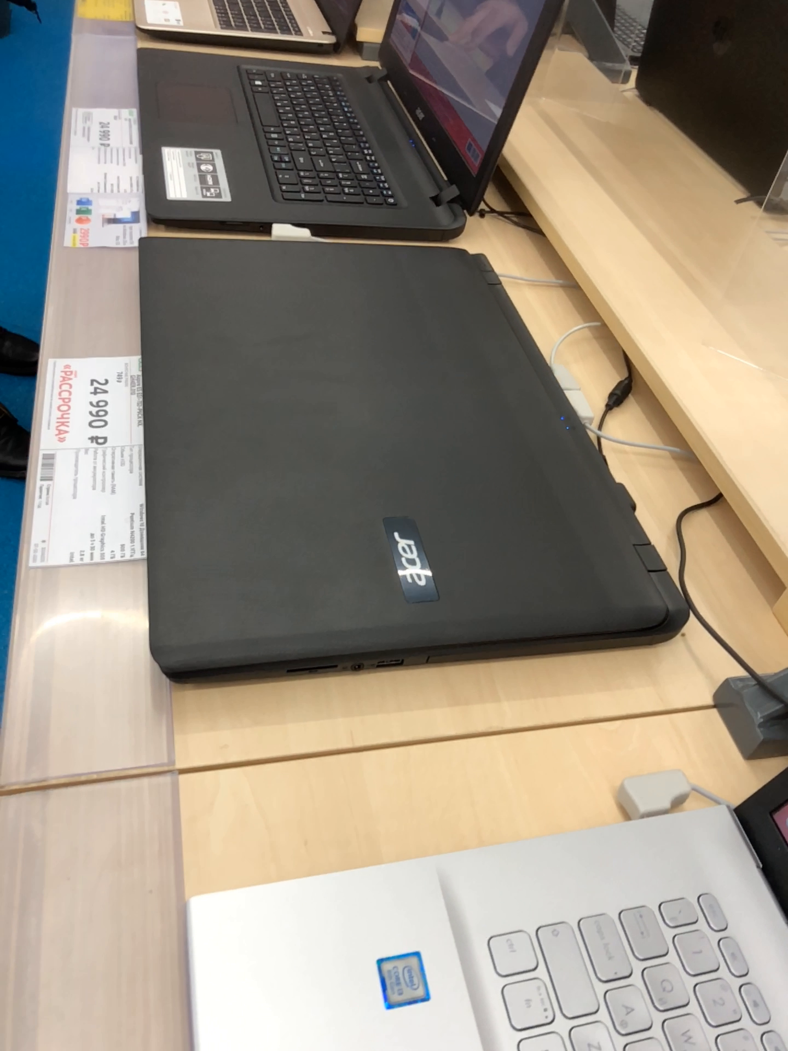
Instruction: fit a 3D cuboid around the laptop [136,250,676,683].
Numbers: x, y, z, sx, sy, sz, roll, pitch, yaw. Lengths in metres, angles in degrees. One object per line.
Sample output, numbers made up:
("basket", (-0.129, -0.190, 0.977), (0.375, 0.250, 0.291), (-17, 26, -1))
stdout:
("laptop", (-0.023, -0.080, 0.593), (0.278, 0.005, 0.412), (-4, 47, -15))
